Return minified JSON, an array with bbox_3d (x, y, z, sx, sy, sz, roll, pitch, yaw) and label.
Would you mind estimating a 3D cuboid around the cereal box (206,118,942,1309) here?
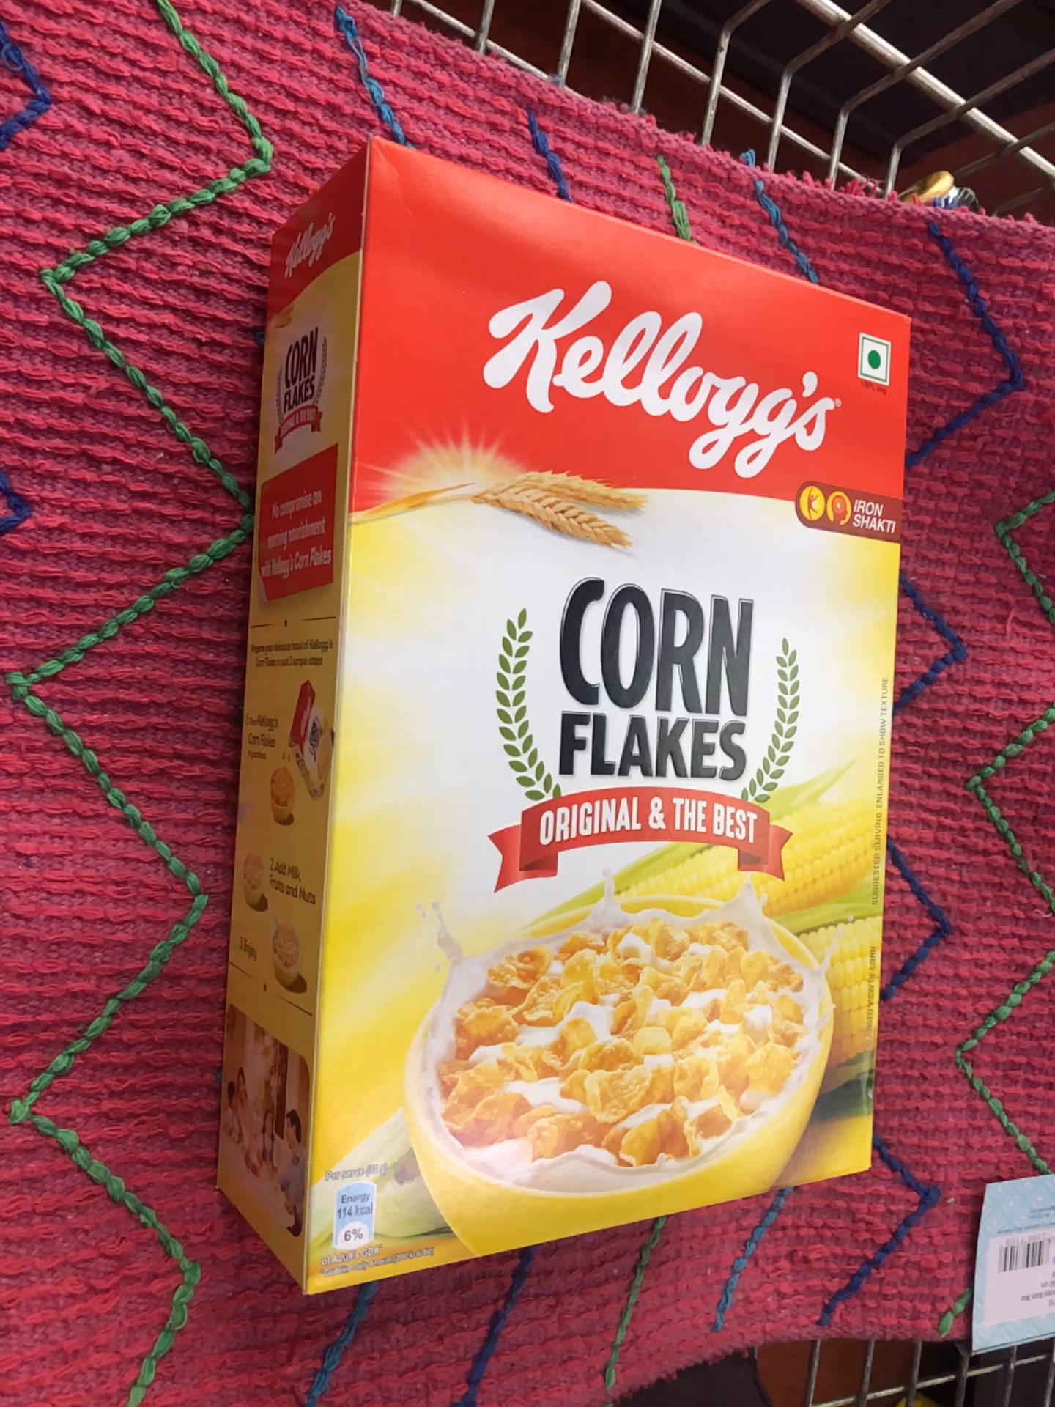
[{"bbox_3d":[0.019,0.005,0.334,0.191,0.070,0.260,3,90,-31],"label":"cereal box"}]
